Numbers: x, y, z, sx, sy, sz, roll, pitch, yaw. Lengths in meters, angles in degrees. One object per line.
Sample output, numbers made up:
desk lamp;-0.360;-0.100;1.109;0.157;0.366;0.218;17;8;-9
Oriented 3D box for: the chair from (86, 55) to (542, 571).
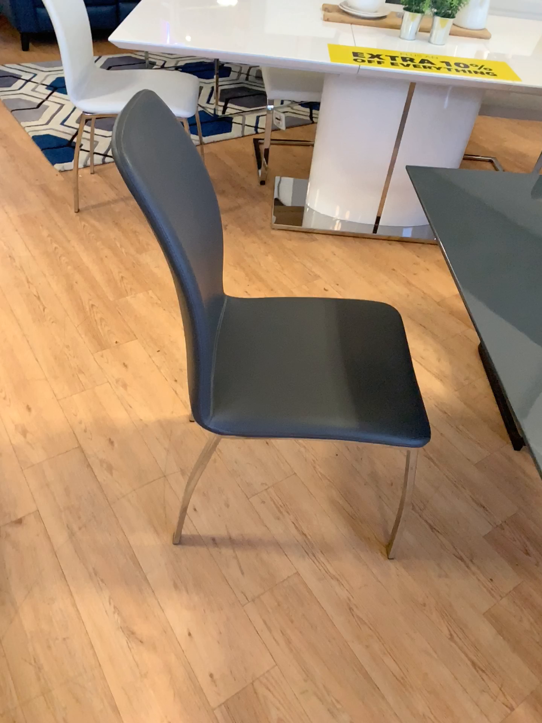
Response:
chair;0.062;-0.033;1.157;0.630;0.911;0.515;4;44;-3
